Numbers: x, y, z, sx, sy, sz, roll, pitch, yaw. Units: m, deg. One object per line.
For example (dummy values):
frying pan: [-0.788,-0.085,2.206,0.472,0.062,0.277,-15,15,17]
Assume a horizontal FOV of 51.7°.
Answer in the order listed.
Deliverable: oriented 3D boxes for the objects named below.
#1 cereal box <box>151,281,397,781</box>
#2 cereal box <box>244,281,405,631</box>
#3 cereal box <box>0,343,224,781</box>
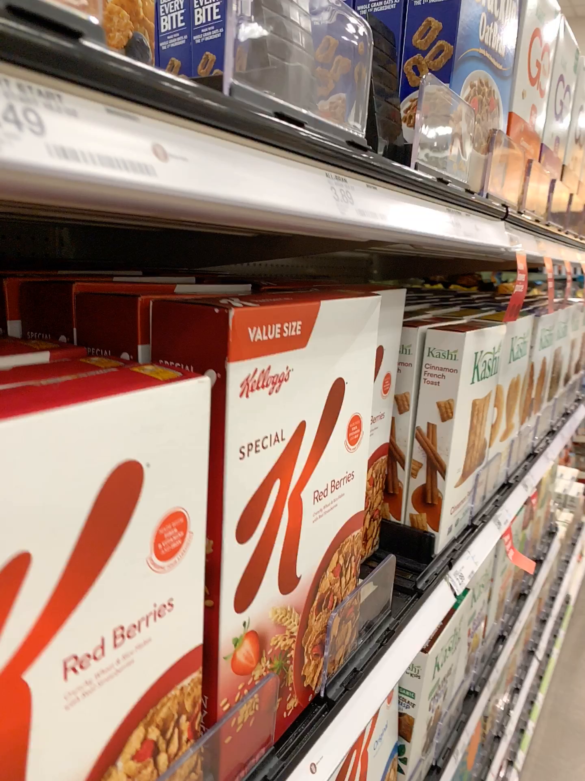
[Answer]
cereal box: [-0.006,0.084,0.445,0.060,0.319,0.200,12,15,30]
cereal box: [0.039,0.052,0.651,0.060,0.329,0.200,11,14,29]
cereal box: [-0.124,0.134,0.283,0.060,0.289,0.200,11,14,29]
